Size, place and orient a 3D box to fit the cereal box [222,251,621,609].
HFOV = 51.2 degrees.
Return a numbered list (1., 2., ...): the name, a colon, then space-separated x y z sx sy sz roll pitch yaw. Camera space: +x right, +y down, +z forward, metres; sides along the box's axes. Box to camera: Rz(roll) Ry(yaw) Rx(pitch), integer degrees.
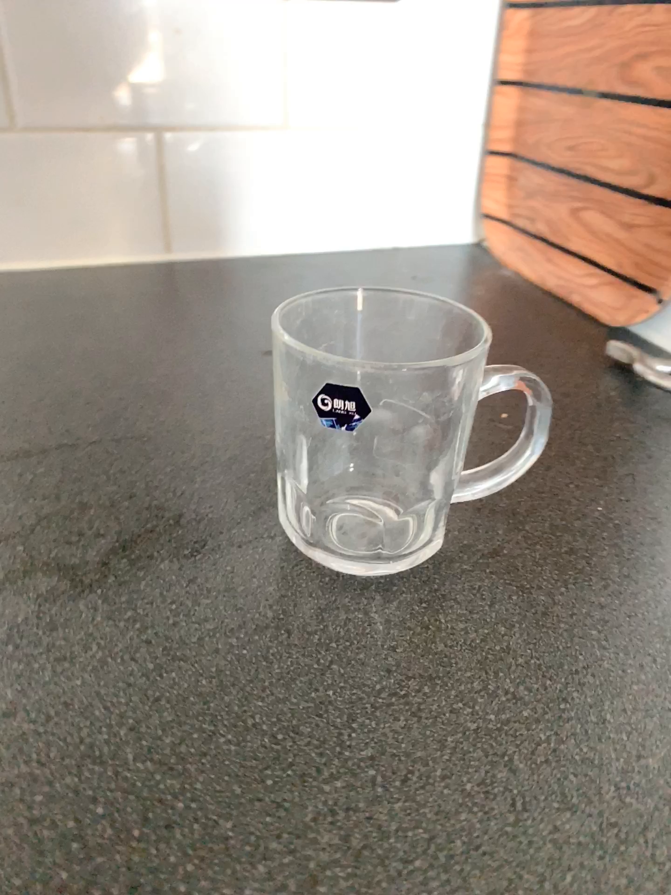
1. cereal box: 0.024 -0.014 0.258 0.110 0.089 0.081 -9 32 -19
